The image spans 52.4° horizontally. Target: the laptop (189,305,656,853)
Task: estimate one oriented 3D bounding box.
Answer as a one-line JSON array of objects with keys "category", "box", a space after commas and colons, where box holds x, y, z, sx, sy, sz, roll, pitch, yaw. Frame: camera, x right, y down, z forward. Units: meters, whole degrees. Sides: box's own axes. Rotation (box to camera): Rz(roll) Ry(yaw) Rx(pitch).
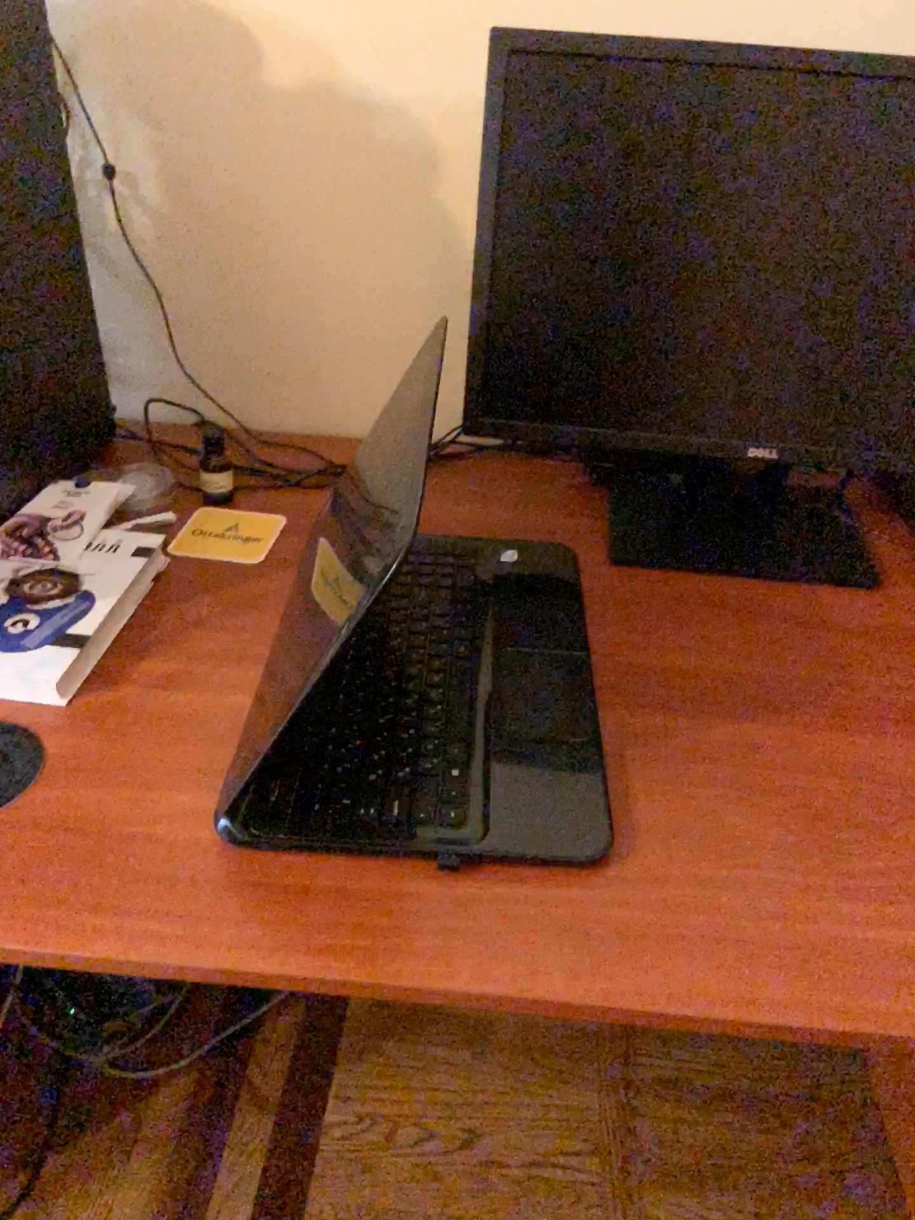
[{"category": "laptop", "box": [-0.016, -0.047, 0.639, 0.222, 0.198, 0.350, 4, 35, 0]}]
